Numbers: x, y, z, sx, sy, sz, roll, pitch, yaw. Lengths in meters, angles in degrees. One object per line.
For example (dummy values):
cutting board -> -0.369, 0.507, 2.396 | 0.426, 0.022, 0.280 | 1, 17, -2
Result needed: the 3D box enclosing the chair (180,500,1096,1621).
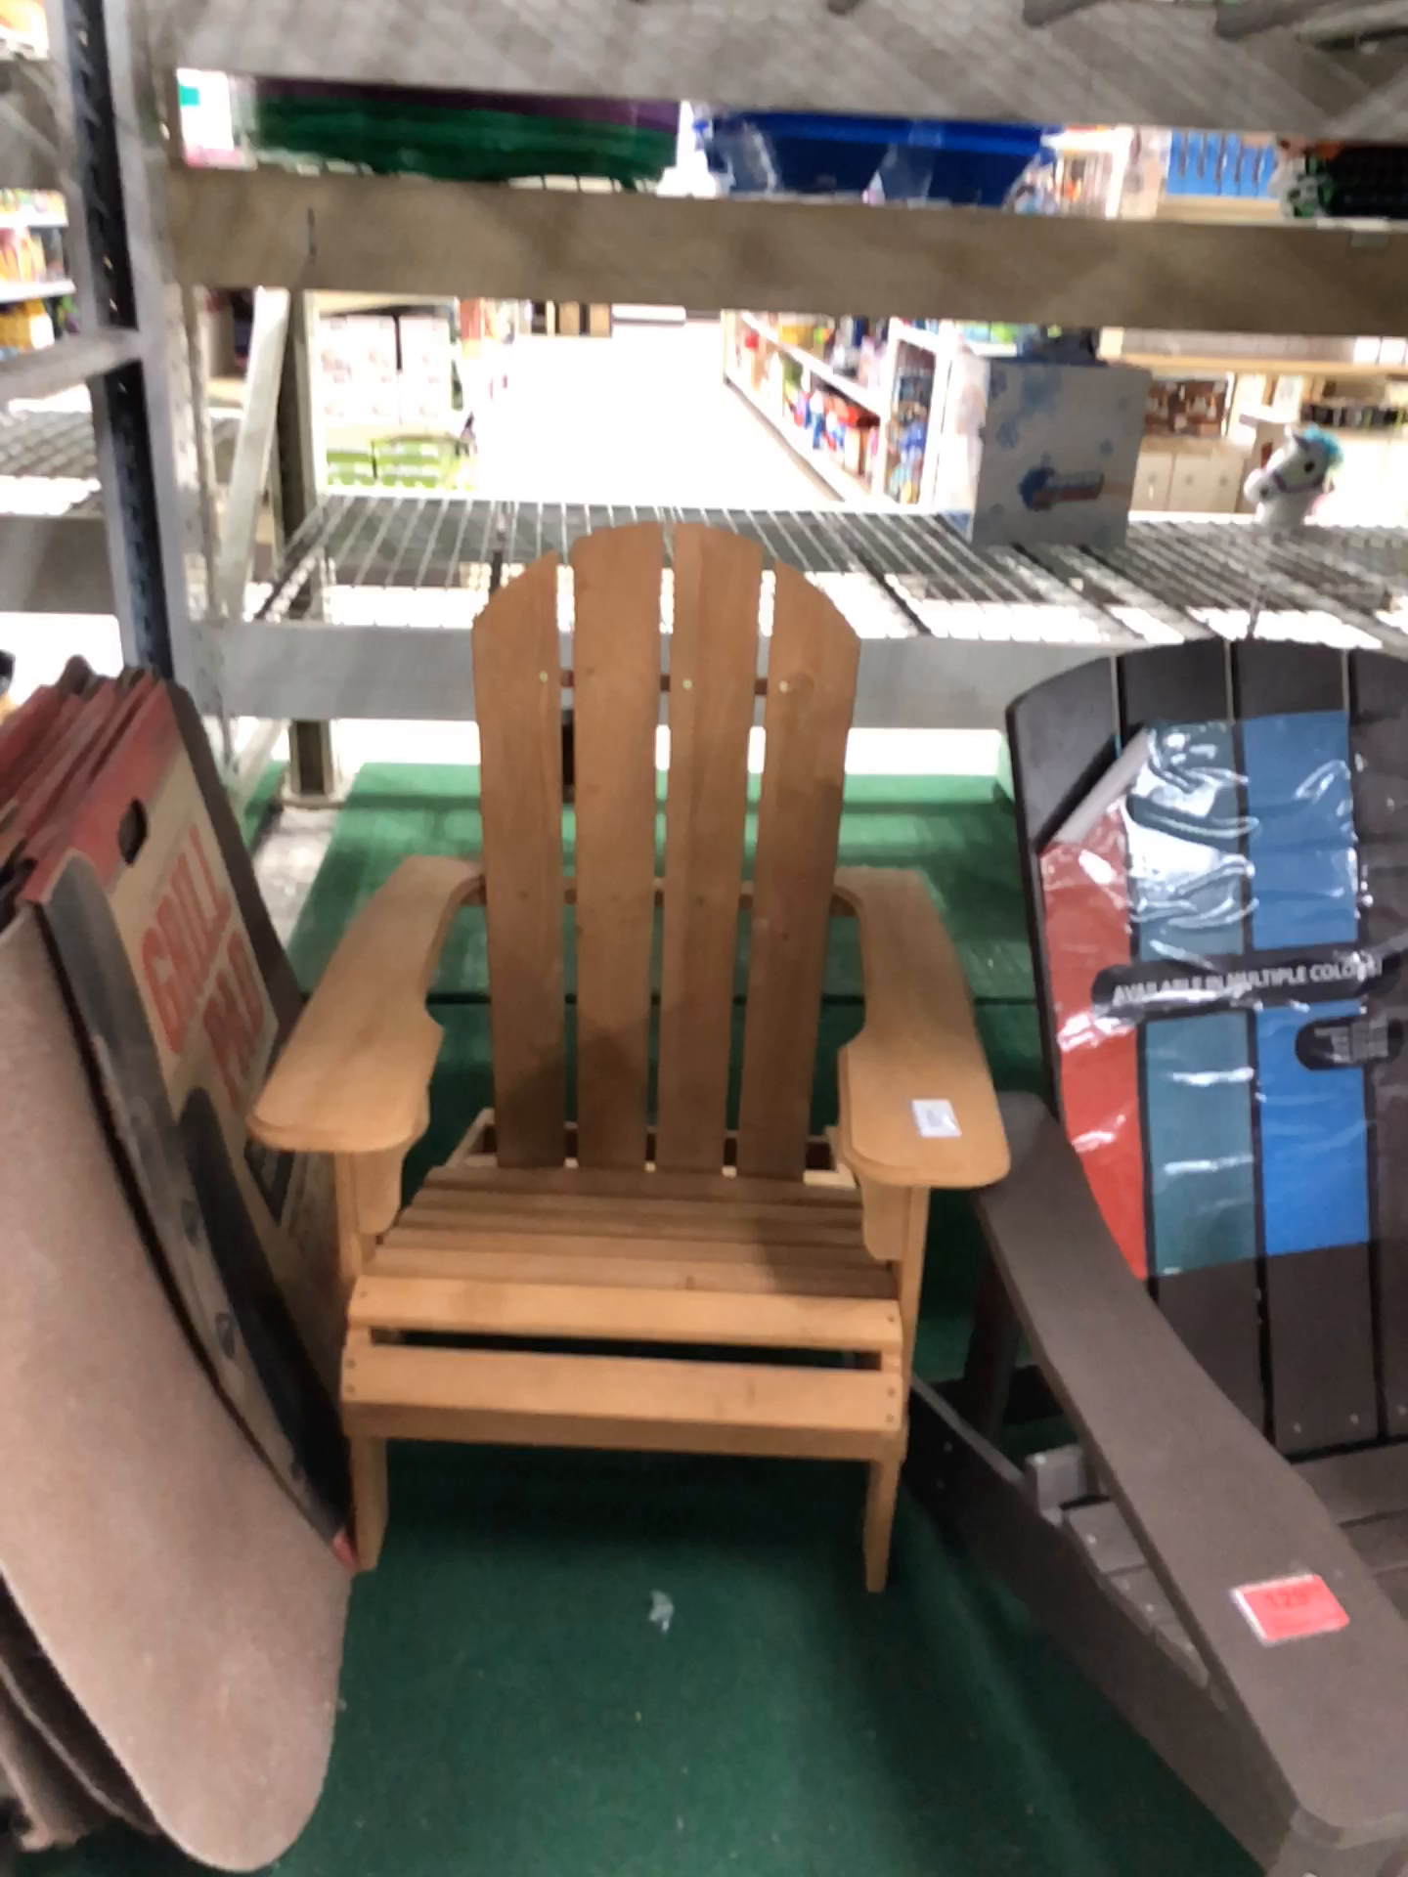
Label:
chair -> -0.059, 0.079, 1.568 | 0.641, 0.885, 0.690 | 3, 25, 0
